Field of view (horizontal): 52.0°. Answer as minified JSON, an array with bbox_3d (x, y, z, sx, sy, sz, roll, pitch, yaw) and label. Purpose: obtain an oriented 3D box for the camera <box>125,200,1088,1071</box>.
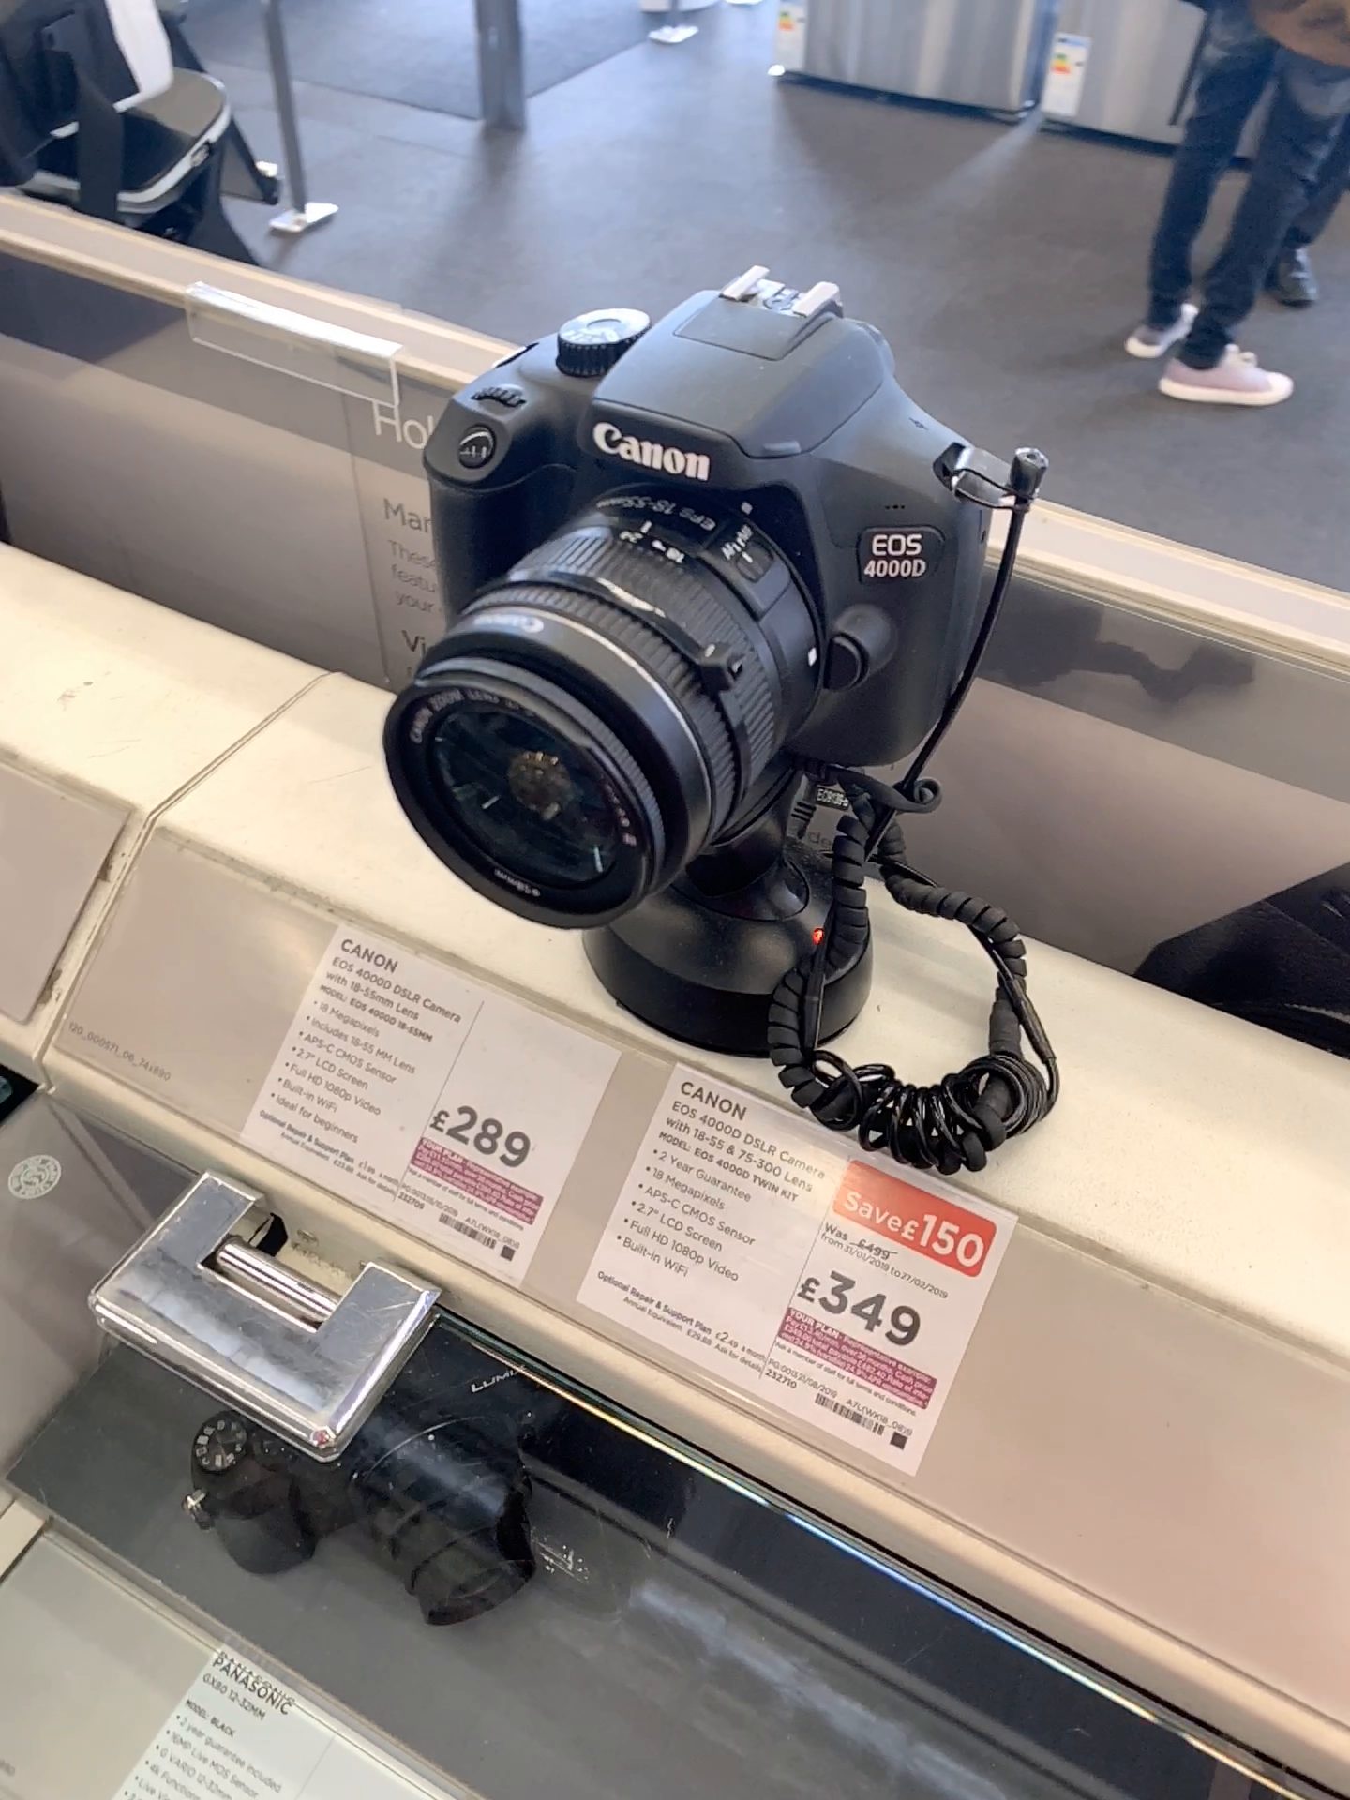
[{"bbox_3d":[-0.010,-0.069,0.312,0.140,0.101,0.136,25,49,21],"label":"camera"}]
